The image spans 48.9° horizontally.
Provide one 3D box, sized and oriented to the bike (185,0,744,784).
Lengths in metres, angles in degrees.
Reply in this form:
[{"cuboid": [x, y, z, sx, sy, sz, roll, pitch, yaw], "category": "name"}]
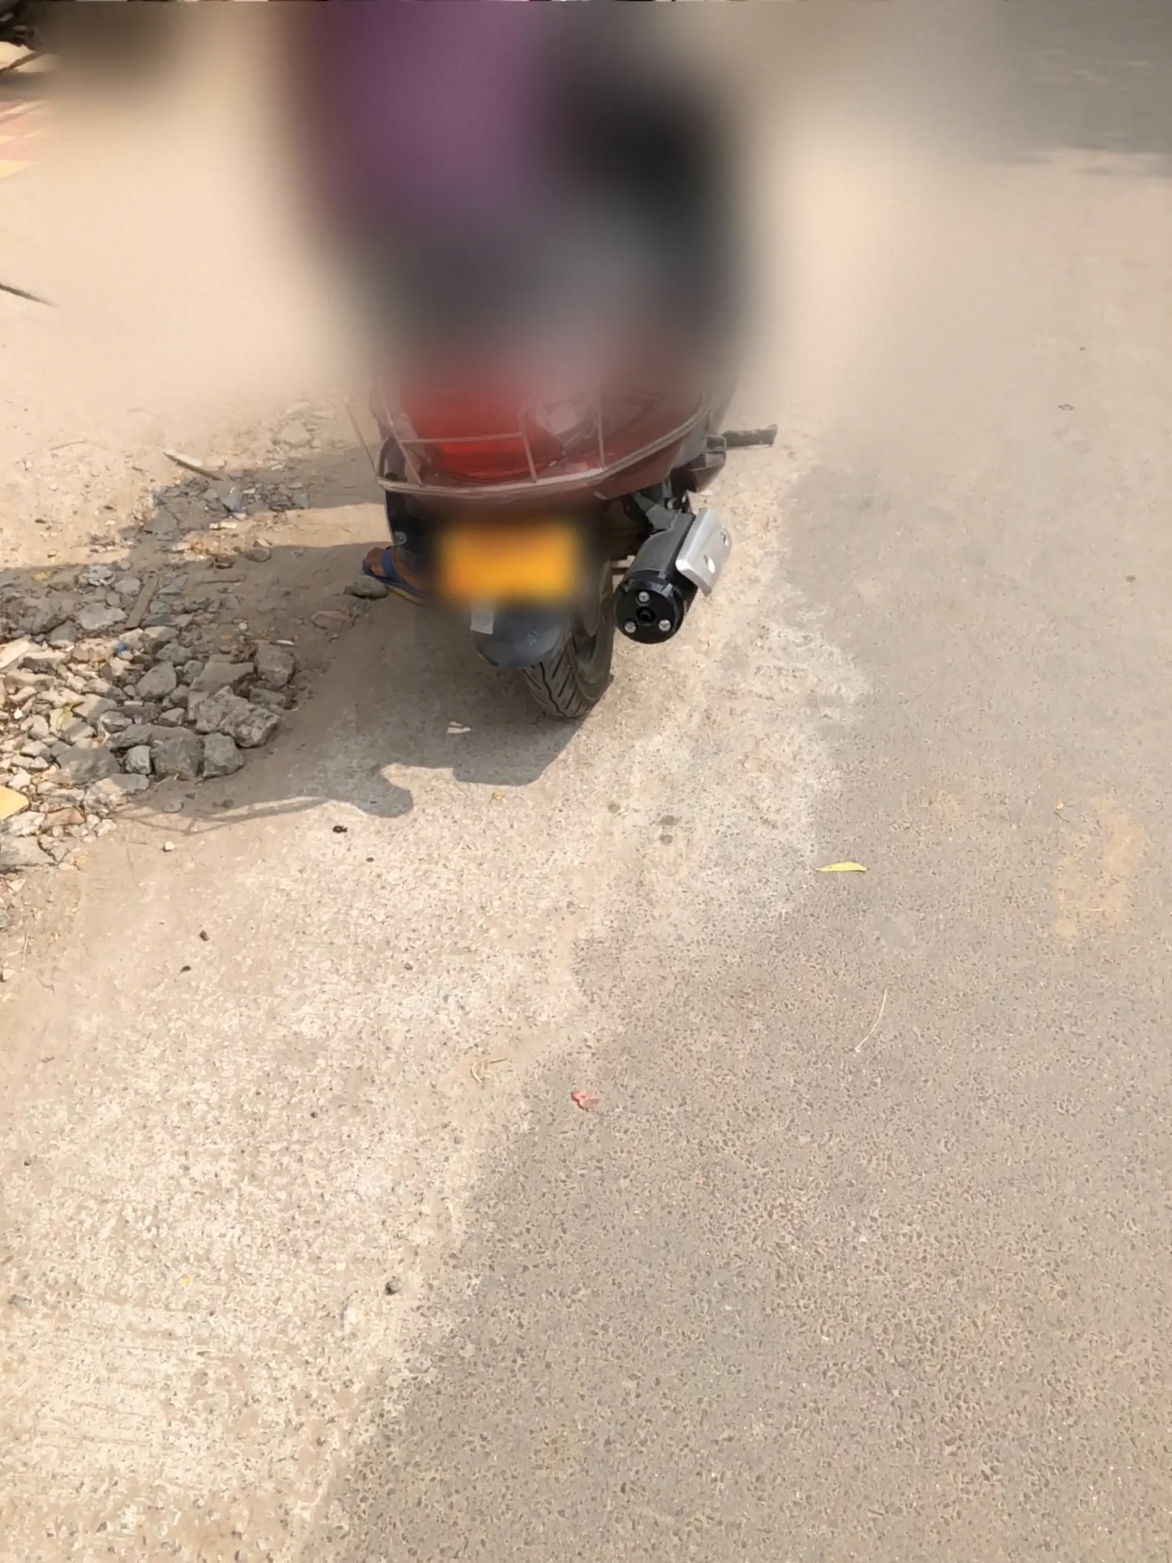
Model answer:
[{"cuboid": [-0.080, -0.978, 2.551, 0.674, 1.124, 1.627, 4, 39, 5], "category": "bike"}]
